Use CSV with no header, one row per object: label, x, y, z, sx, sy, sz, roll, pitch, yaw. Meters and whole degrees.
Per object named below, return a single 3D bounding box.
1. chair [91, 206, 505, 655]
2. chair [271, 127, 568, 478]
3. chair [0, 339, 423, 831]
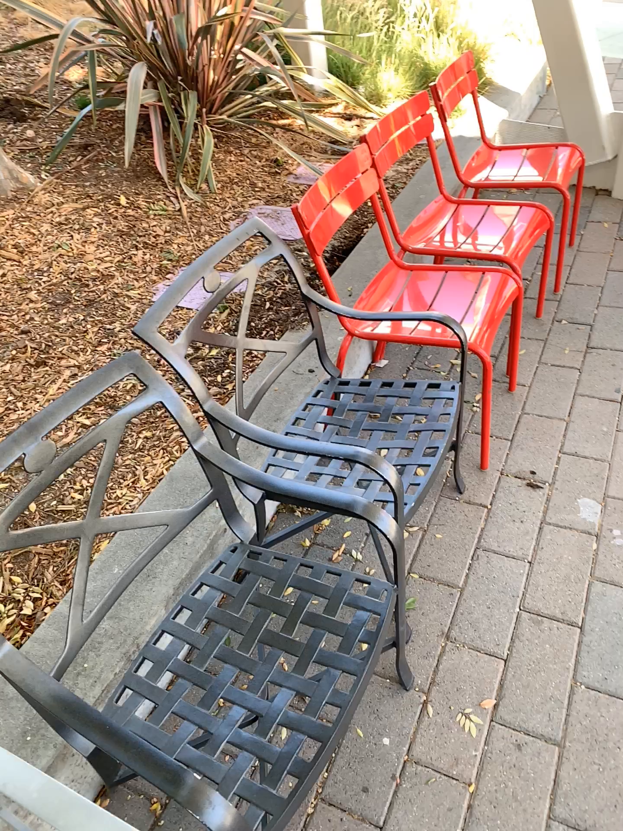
chair,0.043,0.009,1.624,0.692,0.815,0.622,12,45,24
chair,0.365,-0.376,2.009,0.642,0.815,0.622,12,45,24
chair,-0.227,0.417,1.206,0.692,0.815,0.622,12,45,24
